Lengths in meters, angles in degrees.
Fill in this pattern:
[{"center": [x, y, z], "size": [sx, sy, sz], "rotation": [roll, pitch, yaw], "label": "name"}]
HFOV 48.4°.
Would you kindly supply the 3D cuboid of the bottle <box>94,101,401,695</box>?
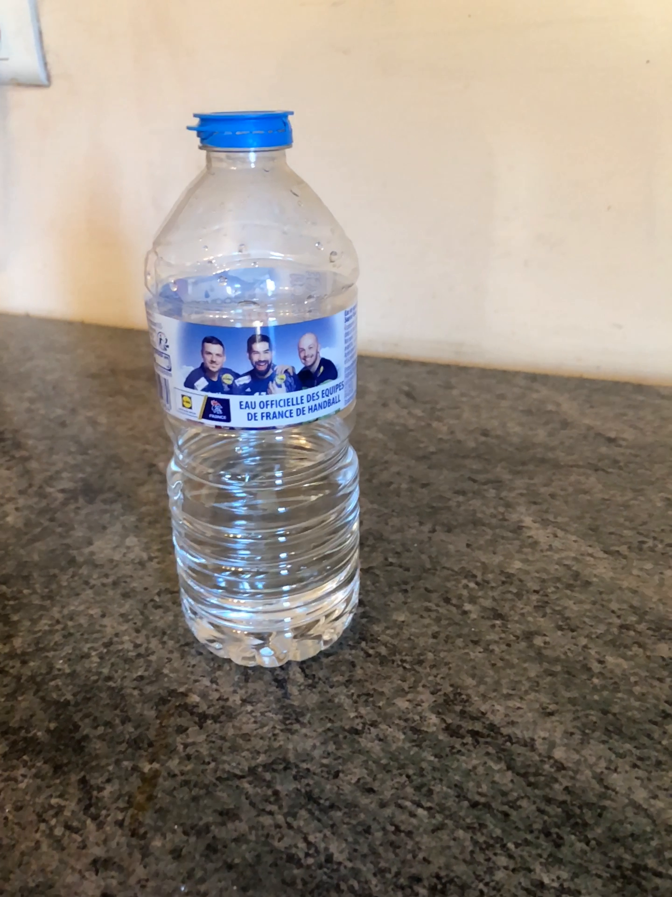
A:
[{"center": [-0.023, -0.016, 0.240], "size": [0.070, 0.169, 0.070], "rotation": [-2, 26, 1], "label": "bottle"}]
